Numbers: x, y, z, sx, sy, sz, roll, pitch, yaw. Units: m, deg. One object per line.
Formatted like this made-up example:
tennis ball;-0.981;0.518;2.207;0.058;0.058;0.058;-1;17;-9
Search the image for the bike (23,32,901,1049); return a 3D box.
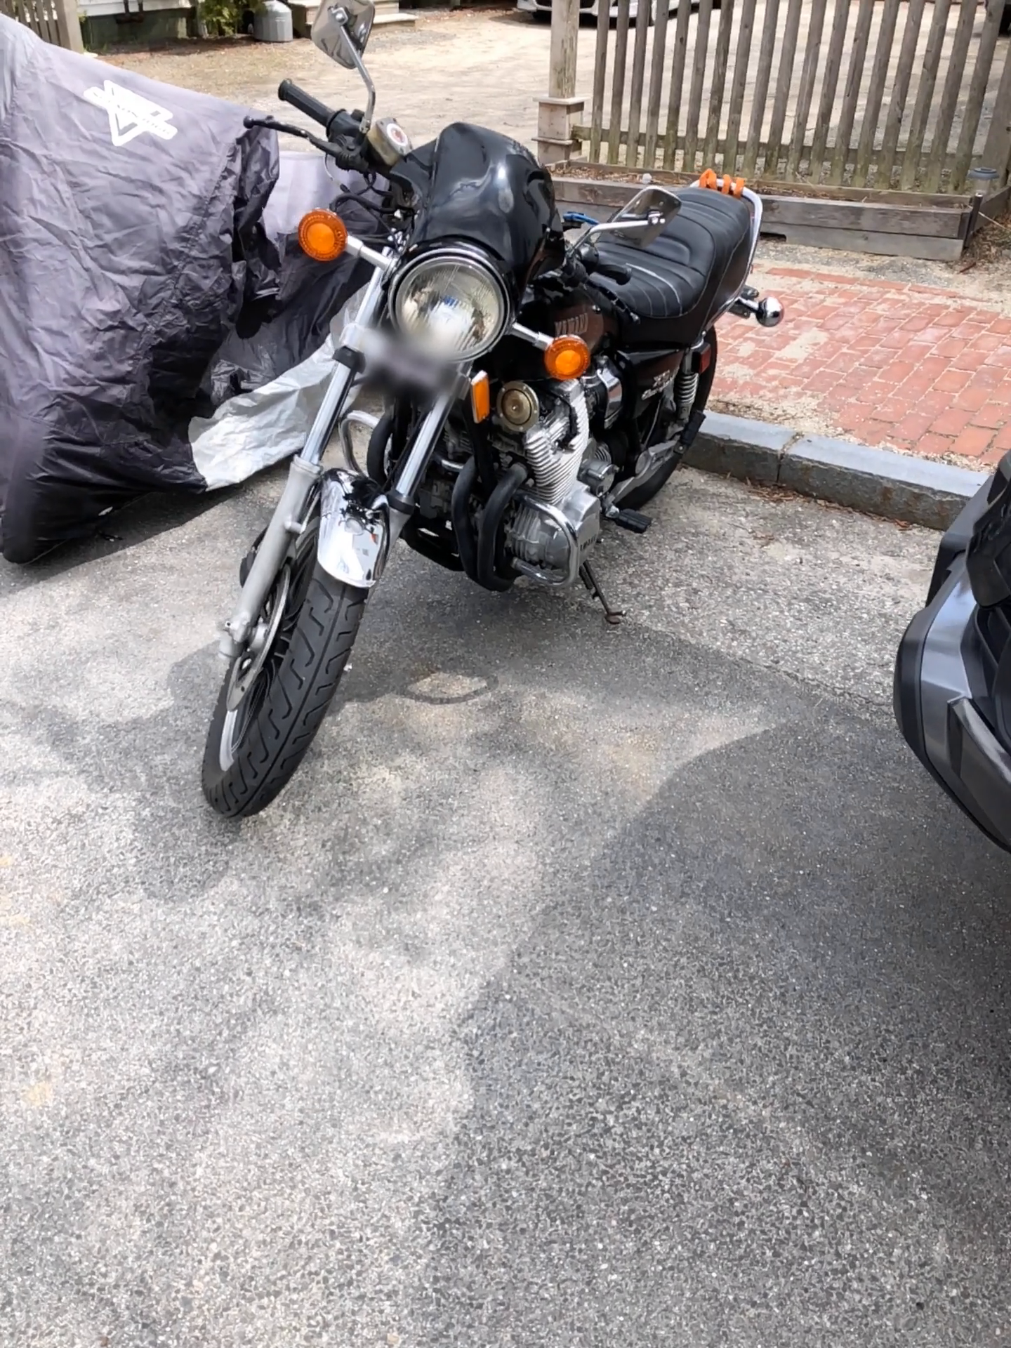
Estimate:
bike;0.136;-0.518;2.280;0.709;1.157;1.979;17;40;22
